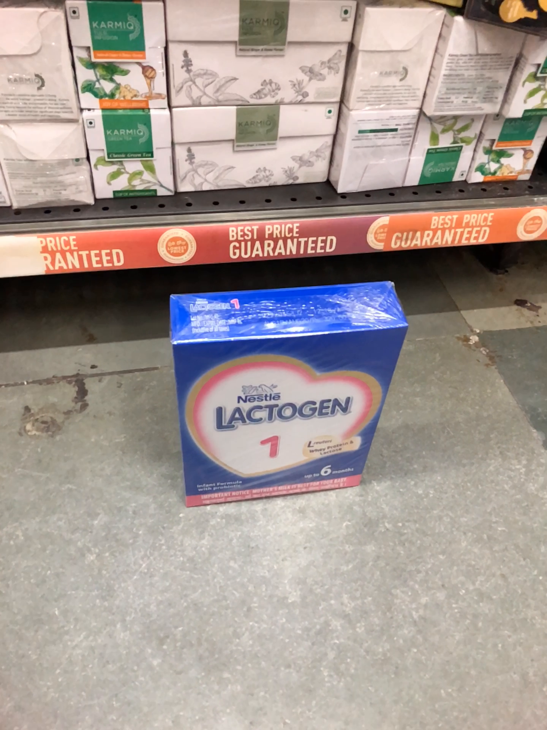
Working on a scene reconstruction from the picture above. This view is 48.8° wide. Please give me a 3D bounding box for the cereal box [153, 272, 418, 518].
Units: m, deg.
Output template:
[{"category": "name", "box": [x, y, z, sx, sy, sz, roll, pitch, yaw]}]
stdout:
[{"category": "cereal box", "box": [0.000, 0.031, 0.448, 0.160, 0.199, 0.050, -5, 47, -10]}]
